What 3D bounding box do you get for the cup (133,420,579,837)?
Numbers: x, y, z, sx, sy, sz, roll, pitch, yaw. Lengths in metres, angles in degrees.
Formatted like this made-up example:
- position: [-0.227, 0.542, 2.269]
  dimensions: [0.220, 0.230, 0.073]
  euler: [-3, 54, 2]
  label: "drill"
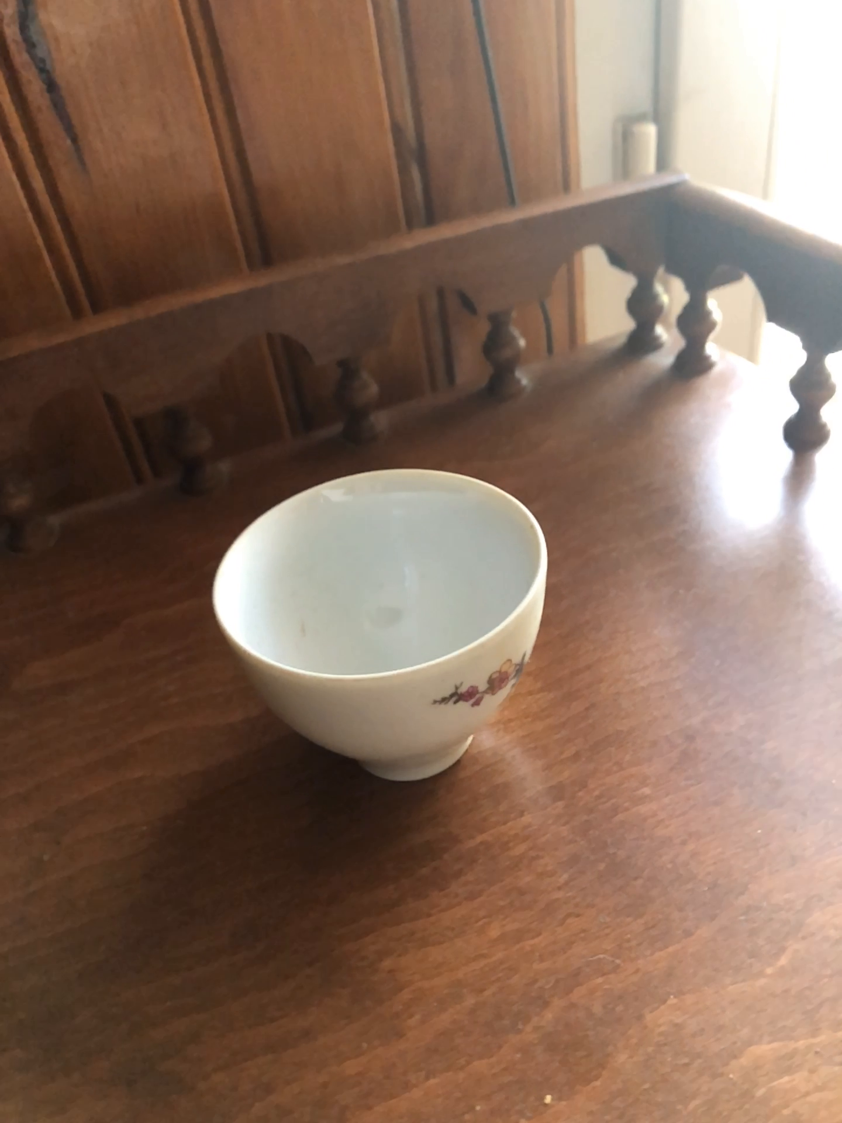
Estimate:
- position: [-0.007, 0.010, 0.233]
  dimensions: [0.080, 0.050, 0.091]
  euler: [2, 39, 15]
  label: "cup"
